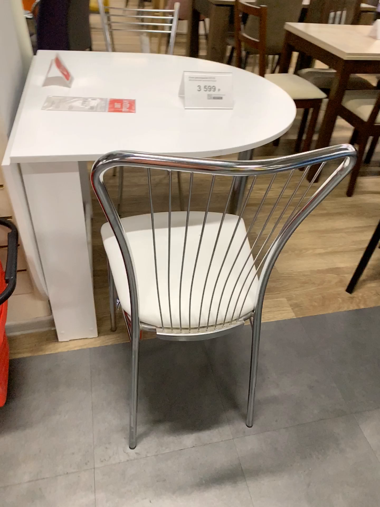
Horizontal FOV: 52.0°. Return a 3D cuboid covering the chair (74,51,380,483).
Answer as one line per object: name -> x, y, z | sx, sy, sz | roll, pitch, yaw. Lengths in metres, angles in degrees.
chair -> -0.004, 0.067, 1.020 | 0.450, 0.954, 0.553 | -6, 41, -13
